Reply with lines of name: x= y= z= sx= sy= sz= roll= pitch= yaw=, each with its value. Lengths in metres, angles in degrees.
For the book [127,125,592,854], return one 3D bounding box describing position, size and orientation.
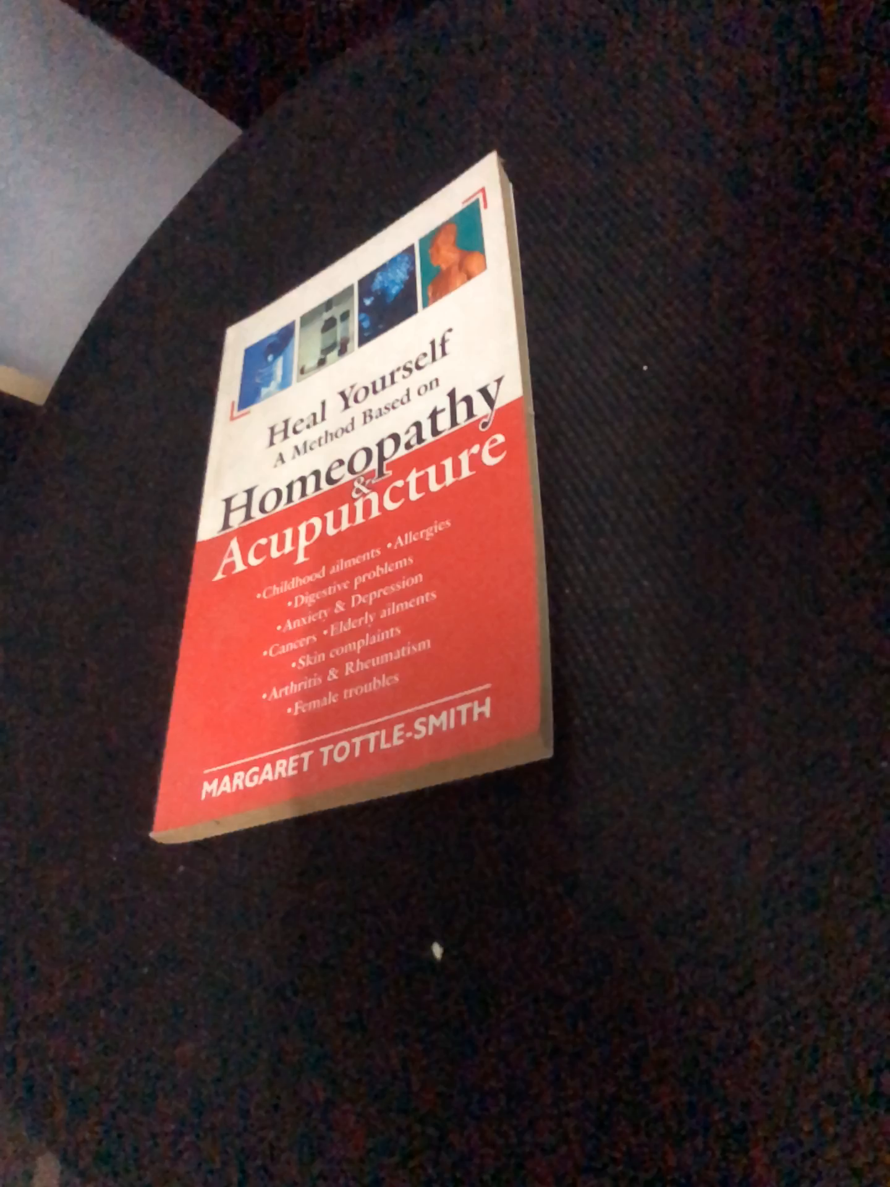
book: x=-0.030 y=-0.038 z=0.325 sx=0.150 sy=0.020 sz=0.220 roll=-19 pitch=55 yaw=31
